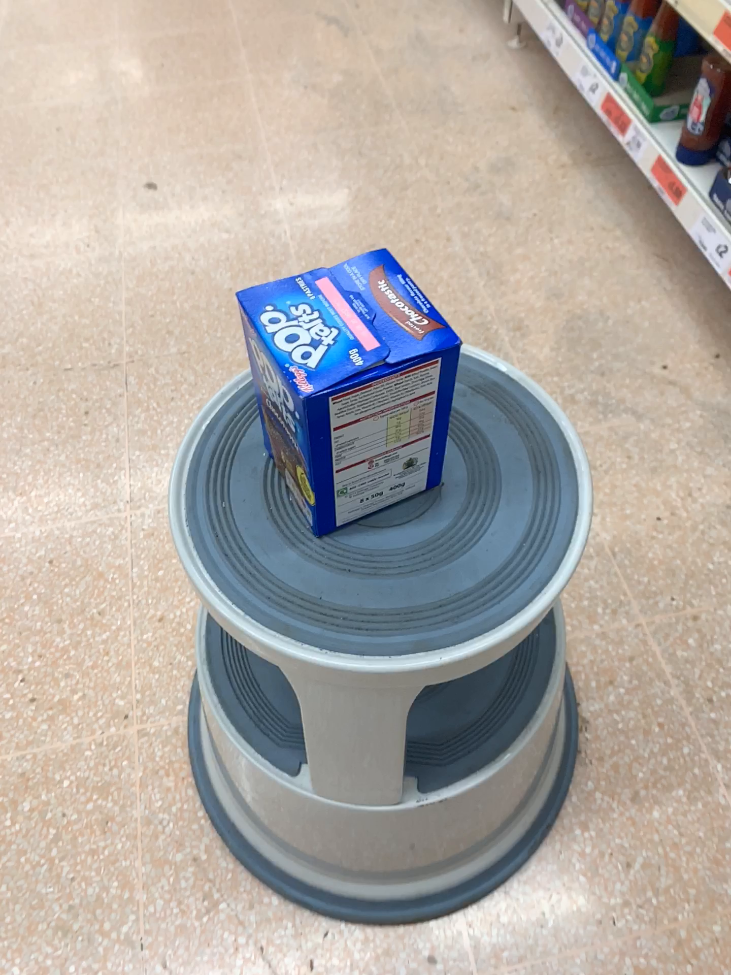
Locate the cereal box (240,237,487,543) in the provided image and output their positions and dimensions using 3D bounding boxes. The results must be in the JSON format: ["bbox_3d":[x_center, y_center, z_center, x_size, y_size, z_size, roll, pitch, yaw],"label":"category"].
[{"bbox_3d":[0.000,-0.060,0.490,0.110,0.139,0.101,-23,57,-13],"label":"cereal box"}]
